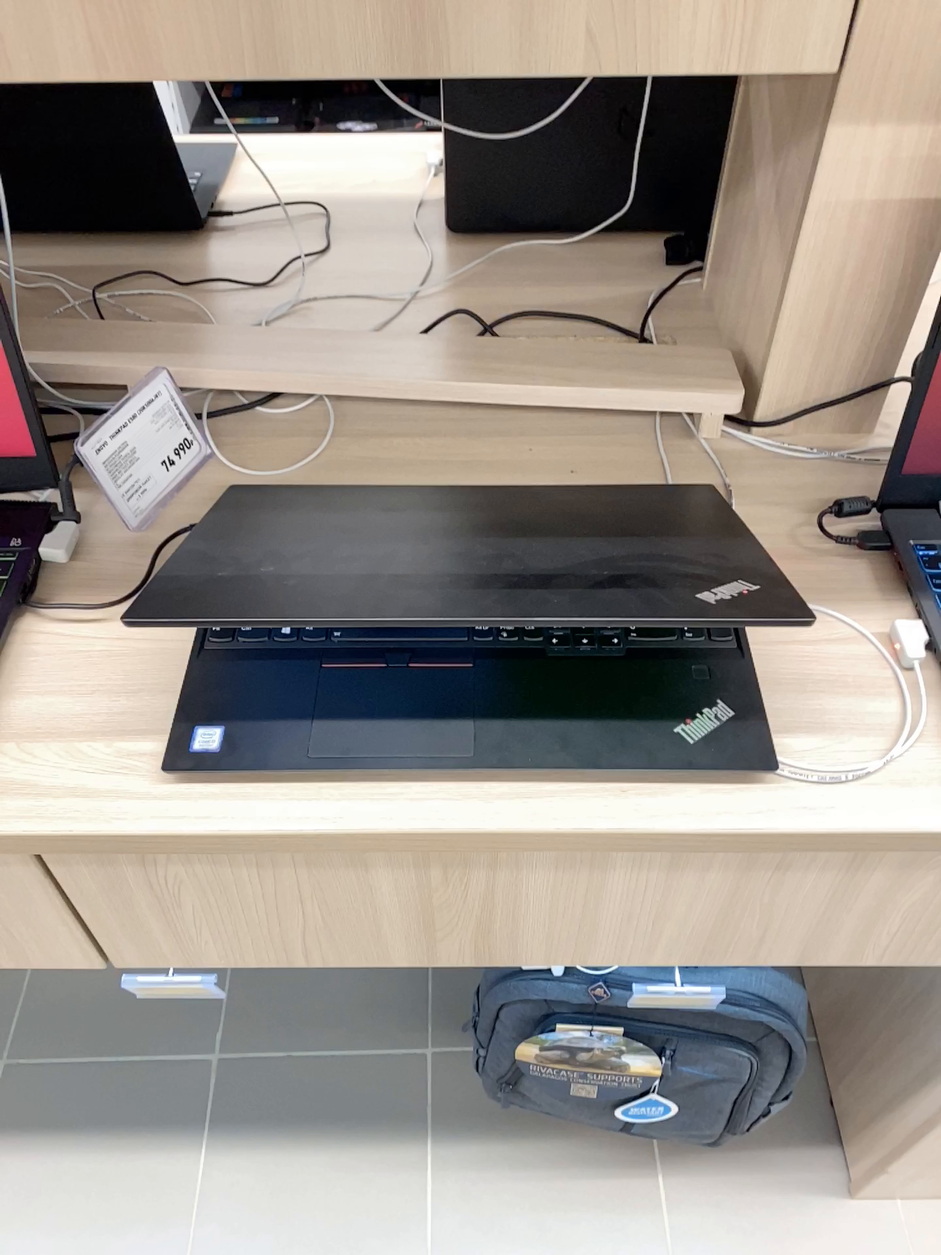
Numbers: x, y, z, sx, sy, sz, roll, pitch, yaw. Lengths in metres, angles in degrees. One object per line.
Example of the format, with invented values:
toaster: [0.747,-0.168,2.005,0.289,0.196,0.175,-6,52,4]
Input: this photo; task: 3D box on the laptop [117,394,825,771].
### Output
laptop: [0.000,-0.038,0.612,0.368,0.093,0.241,0,48,2]
